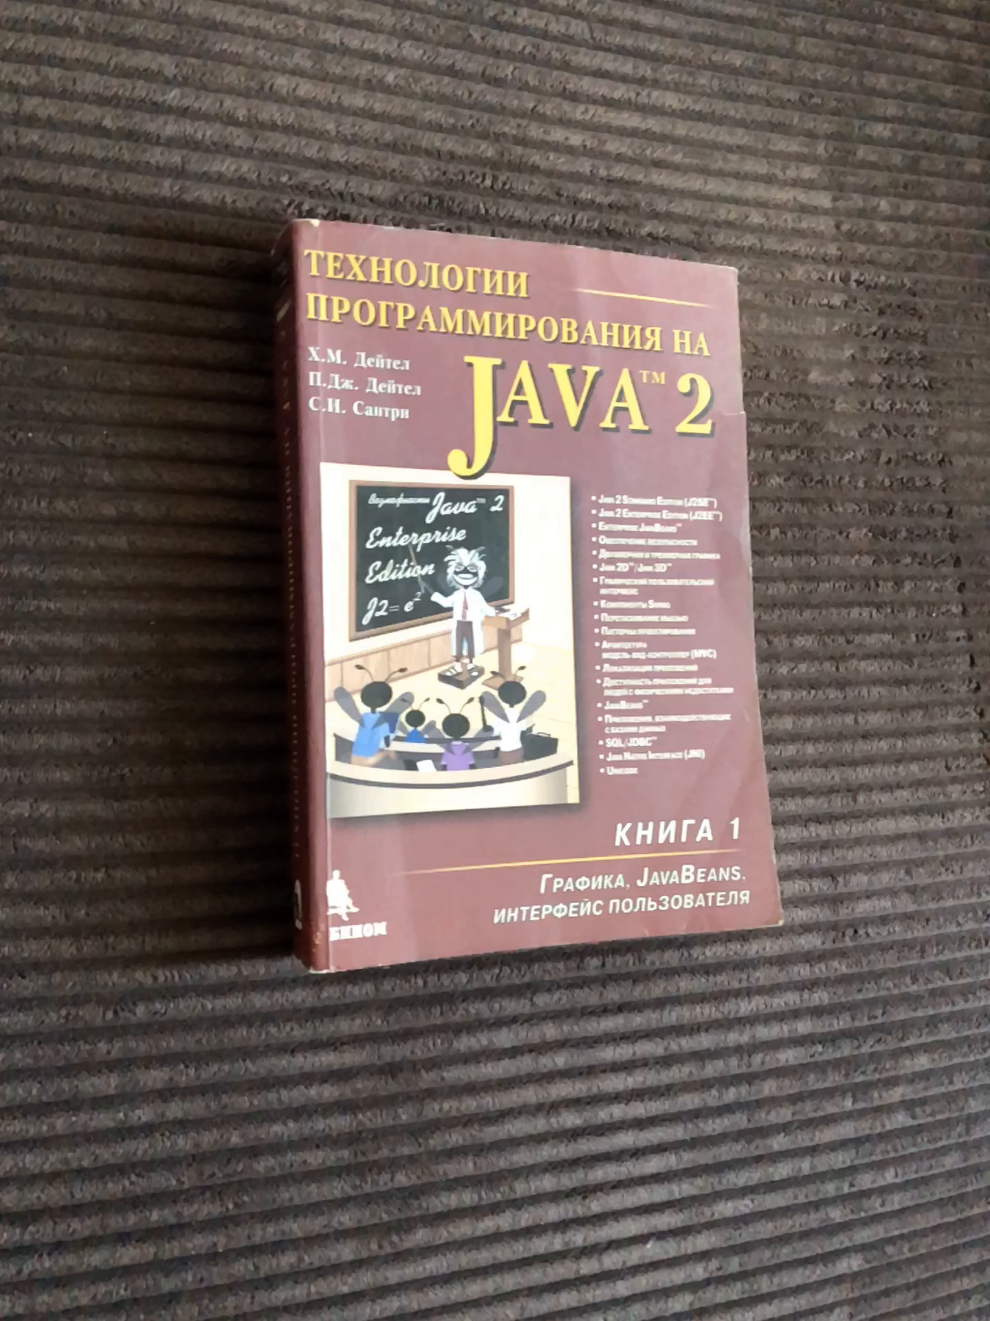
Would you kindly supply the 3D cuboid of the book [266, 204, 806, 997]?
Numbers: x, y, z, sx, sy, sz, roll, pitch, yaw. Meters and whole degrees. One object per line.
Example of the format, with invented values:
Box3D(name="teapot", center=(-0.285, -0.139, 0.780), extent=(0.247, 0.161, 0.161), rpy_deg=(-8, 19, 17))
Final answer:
Box3D(name="book", center=(0.013, -0.022, 0.378), extent=(0.165, 0.050, 0.240), rpy_deg=(-2, 85, -20))
